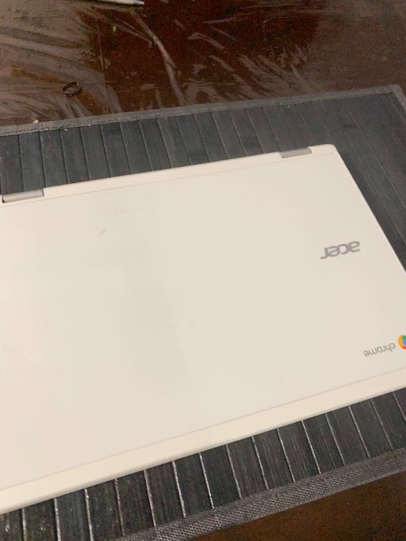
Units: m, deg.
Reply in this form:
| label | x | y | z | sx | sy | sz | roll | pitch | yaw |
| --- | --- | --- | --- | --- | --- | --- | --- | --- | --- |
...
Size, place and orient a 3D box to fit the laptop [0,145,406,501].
| label | x | y | z | sx | sy | sz | roll | pitch | yaw |
| --- | --- | --- | --- | --- | --- | --- | --- | --- | --- |
| laptop | 0.007 | 0.007 | 0.283 | 0.279 | 0.002 | 0.195 | -12 | 64 | -11 |
